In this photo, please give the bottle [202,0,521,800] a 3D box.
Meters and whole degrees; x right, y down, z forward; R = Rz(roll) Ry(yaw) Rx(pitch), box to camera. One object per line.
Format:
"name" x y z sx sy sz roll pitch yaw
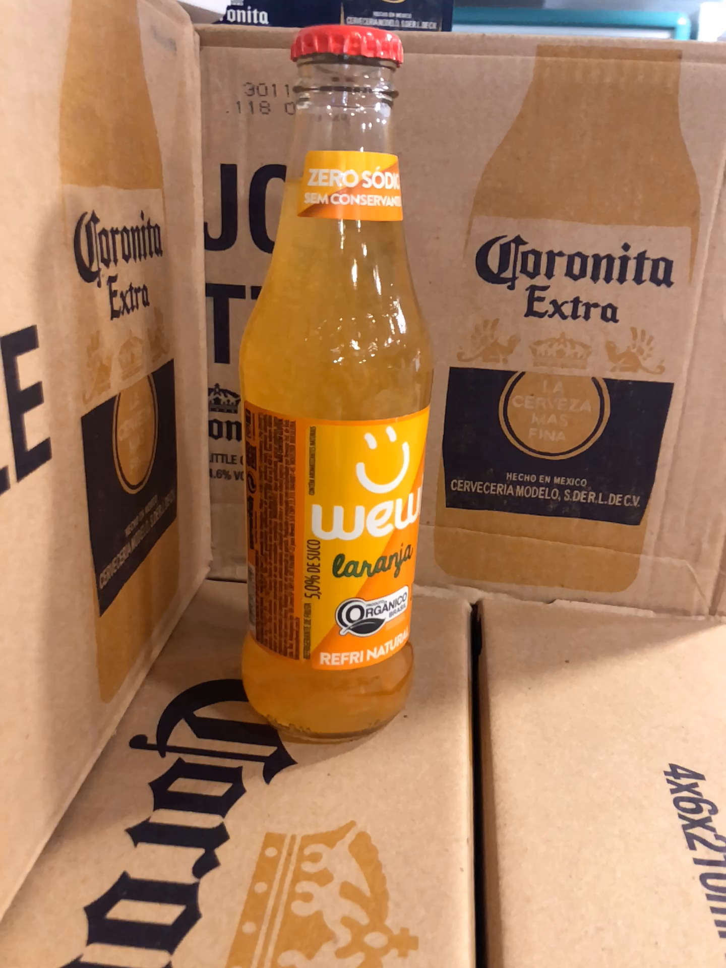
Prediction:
"bottle" -0.006 -0.021 0.242 0.060 0.209 0.060 2 18 -1
